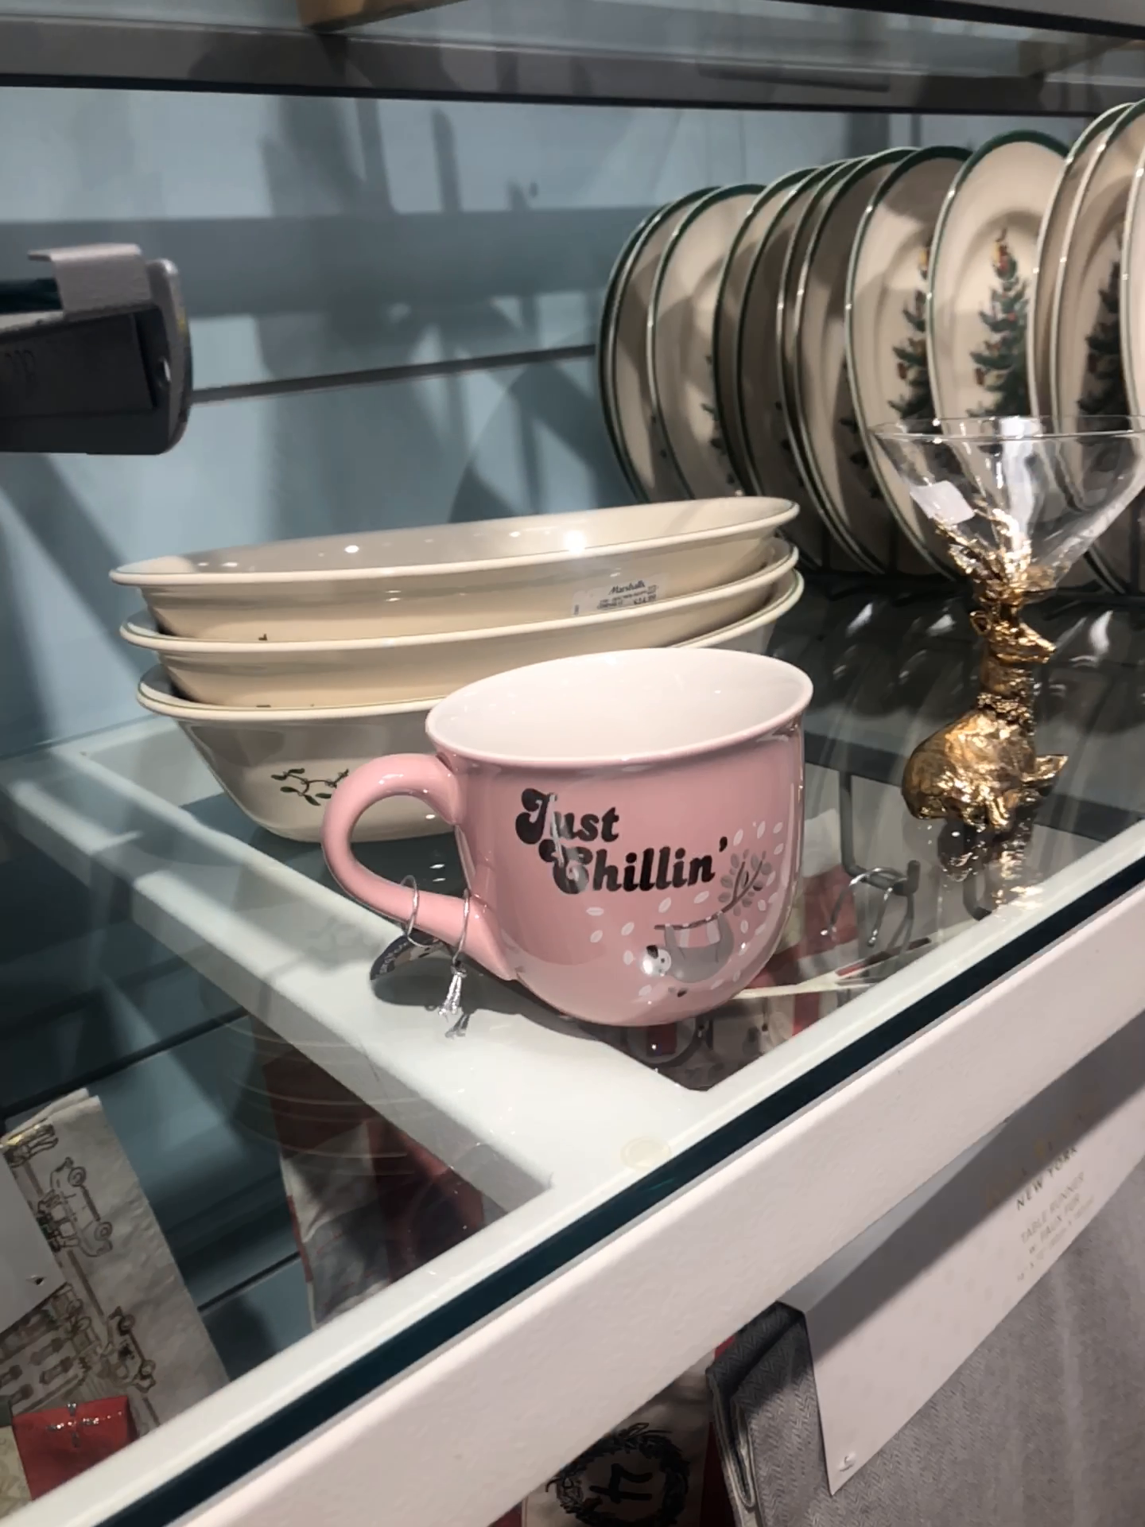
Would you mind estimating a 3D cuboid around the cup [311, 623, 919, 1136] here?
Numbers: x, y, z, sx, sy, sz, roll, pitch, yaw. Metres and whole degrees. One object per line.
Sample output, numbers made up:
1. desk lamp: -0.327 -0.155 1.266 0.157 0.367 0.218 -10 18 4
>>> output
1. cup: 0.008 0.021 0.363 0.136 0.085 0.112 -11 19 -18
